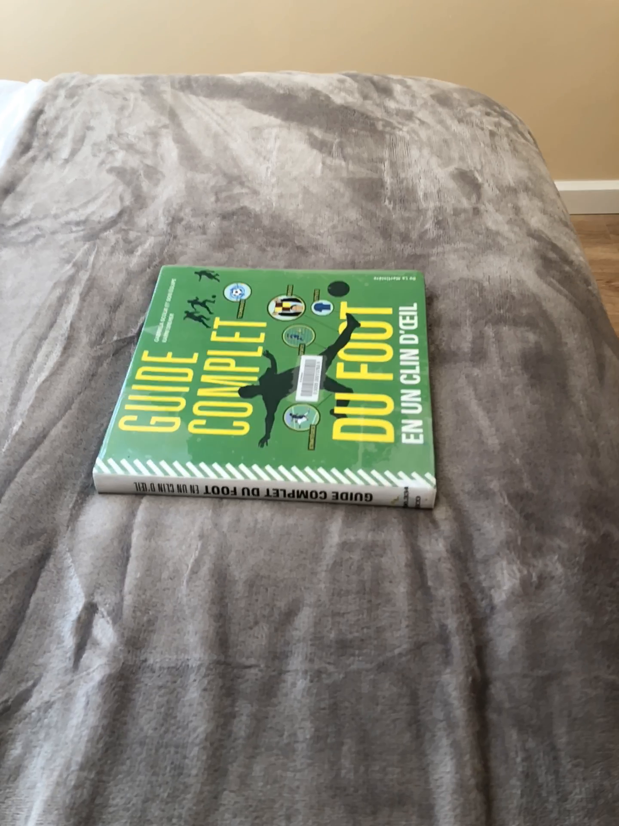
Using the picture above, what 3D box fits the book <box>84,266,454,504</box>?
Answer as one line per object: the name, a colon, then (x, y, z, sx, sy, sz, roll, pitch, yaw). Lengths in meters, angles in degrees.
book: (-0.021, -0.034, 0.519, 0.238, 0.018, 0.228, 2, 47, 3)
